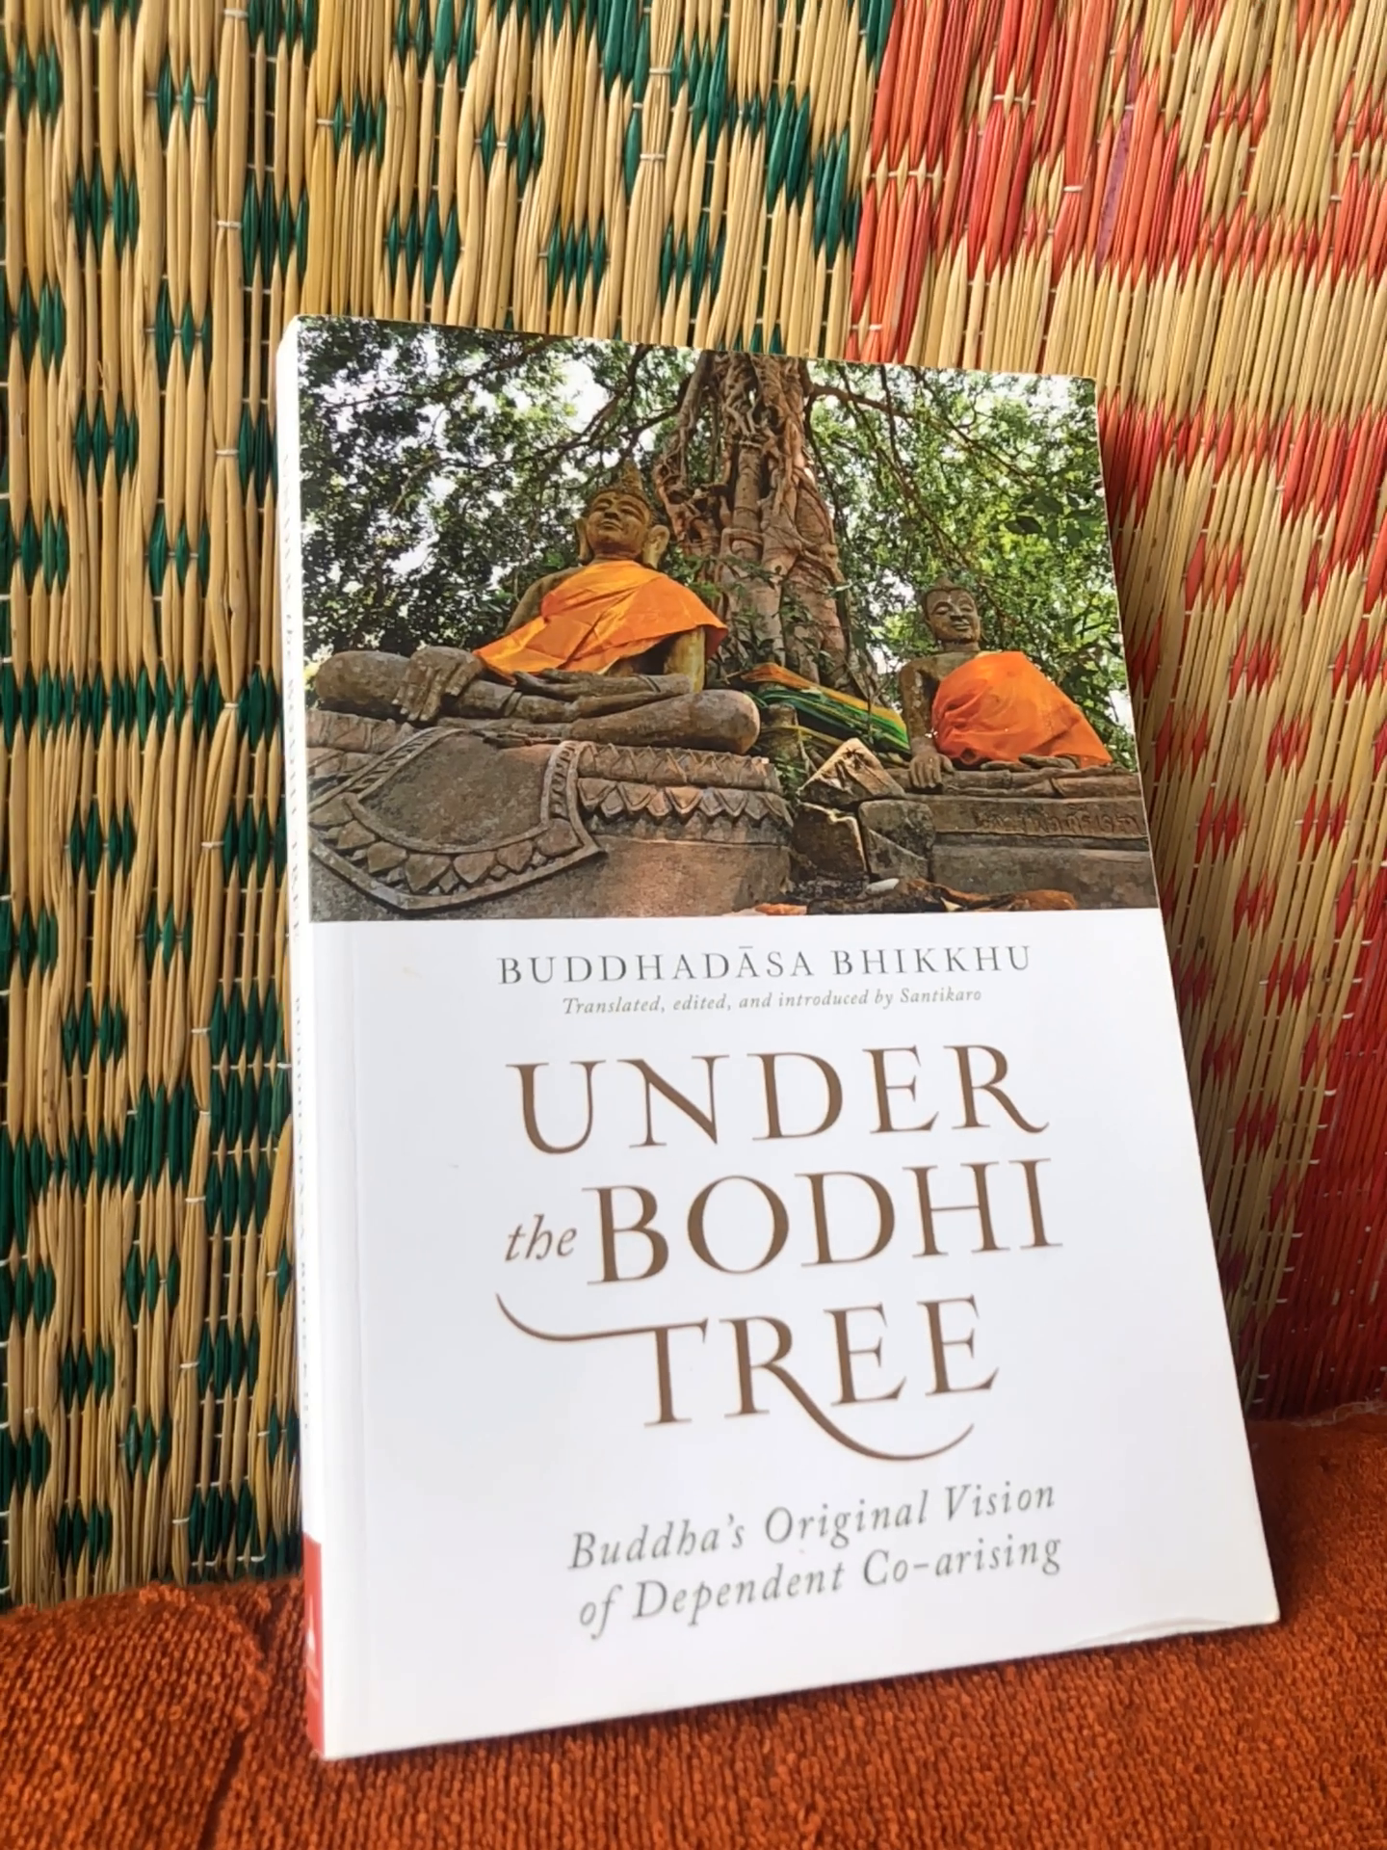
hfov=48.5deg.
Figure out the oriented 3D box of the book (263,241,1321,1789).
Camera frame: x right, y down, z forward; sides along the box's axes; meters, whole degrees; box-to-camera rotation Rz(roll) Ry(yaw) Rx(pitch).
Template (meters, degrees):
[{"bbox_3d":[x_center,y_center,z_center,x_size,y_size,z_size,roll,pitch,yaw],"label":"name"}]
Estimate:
[{"bbox_3d":[0.012,0.003,0.263,0.160,0.231,0.030,-1,-11,-15],"label":"book"}]
